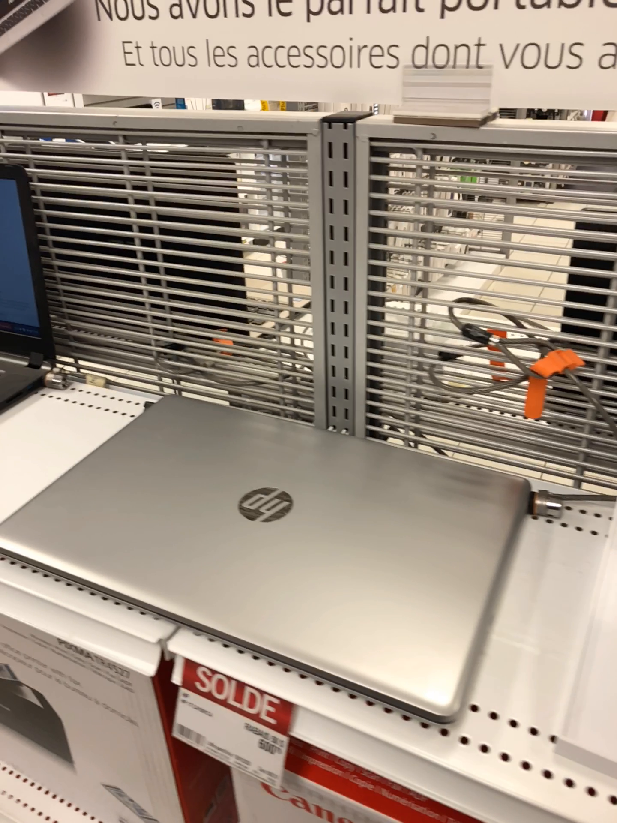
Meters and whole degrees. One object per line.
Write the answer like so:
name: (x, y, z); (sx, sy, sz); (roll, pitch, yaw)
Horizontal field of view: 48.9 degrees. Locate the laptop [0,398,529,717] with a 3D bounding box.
laptop: (-0.036, 0.090, 0.626); (0.416, 0.002, 0.277); (12, 33, 24)
